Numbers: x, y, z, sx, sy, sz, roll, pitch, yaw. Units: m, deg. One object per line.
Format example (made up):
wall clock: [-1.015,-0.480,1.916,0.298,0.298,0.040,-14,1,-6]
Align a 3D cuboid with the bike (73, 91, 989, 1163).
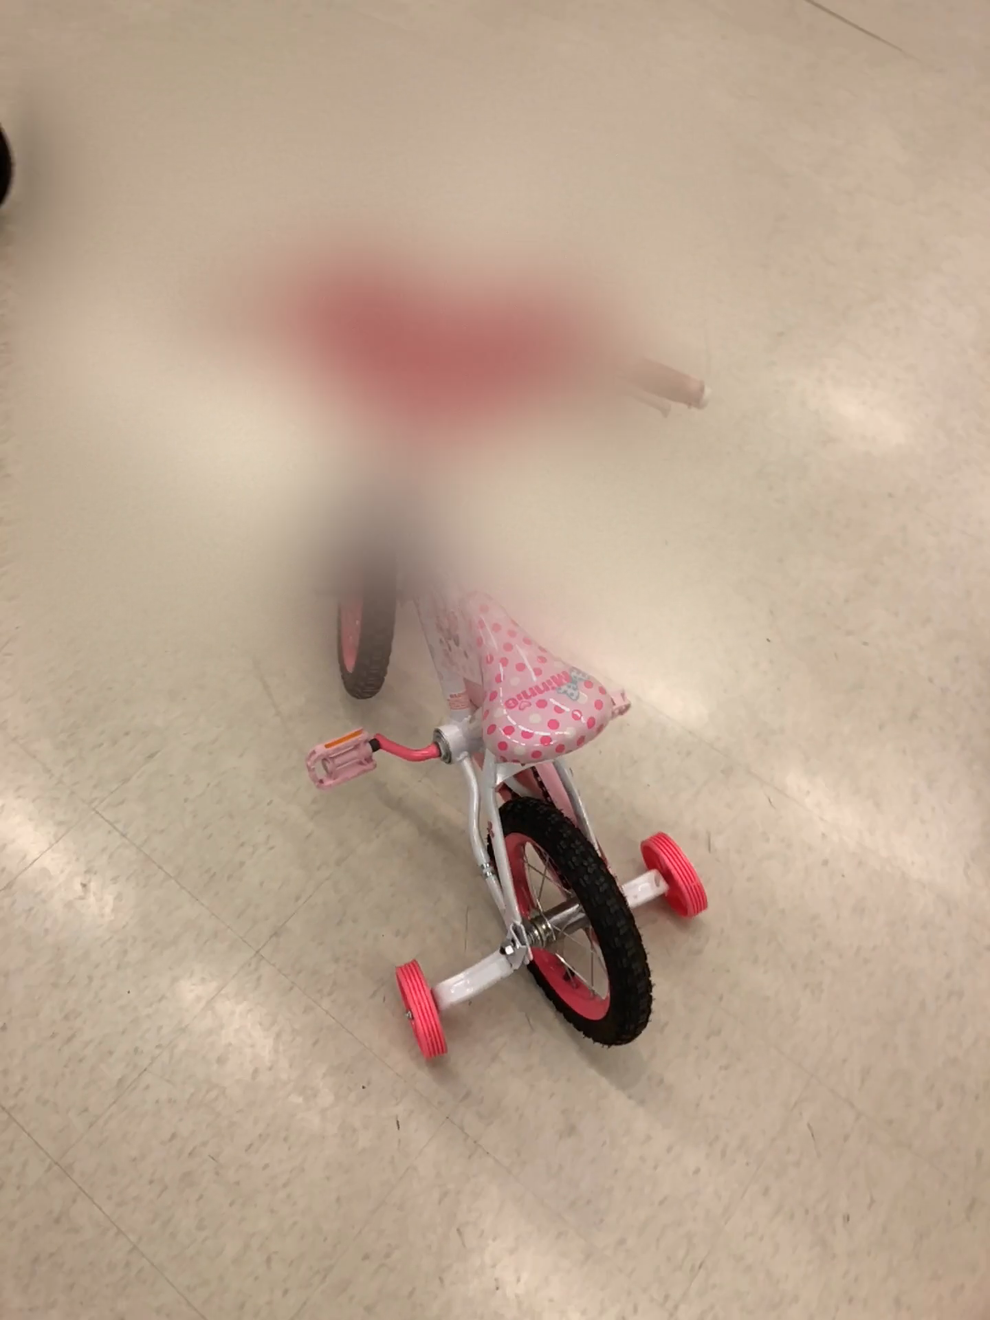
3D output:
bike: [-0.003,-0.028,1.151,0.510,0.681,0.776,-21,59,-16]
